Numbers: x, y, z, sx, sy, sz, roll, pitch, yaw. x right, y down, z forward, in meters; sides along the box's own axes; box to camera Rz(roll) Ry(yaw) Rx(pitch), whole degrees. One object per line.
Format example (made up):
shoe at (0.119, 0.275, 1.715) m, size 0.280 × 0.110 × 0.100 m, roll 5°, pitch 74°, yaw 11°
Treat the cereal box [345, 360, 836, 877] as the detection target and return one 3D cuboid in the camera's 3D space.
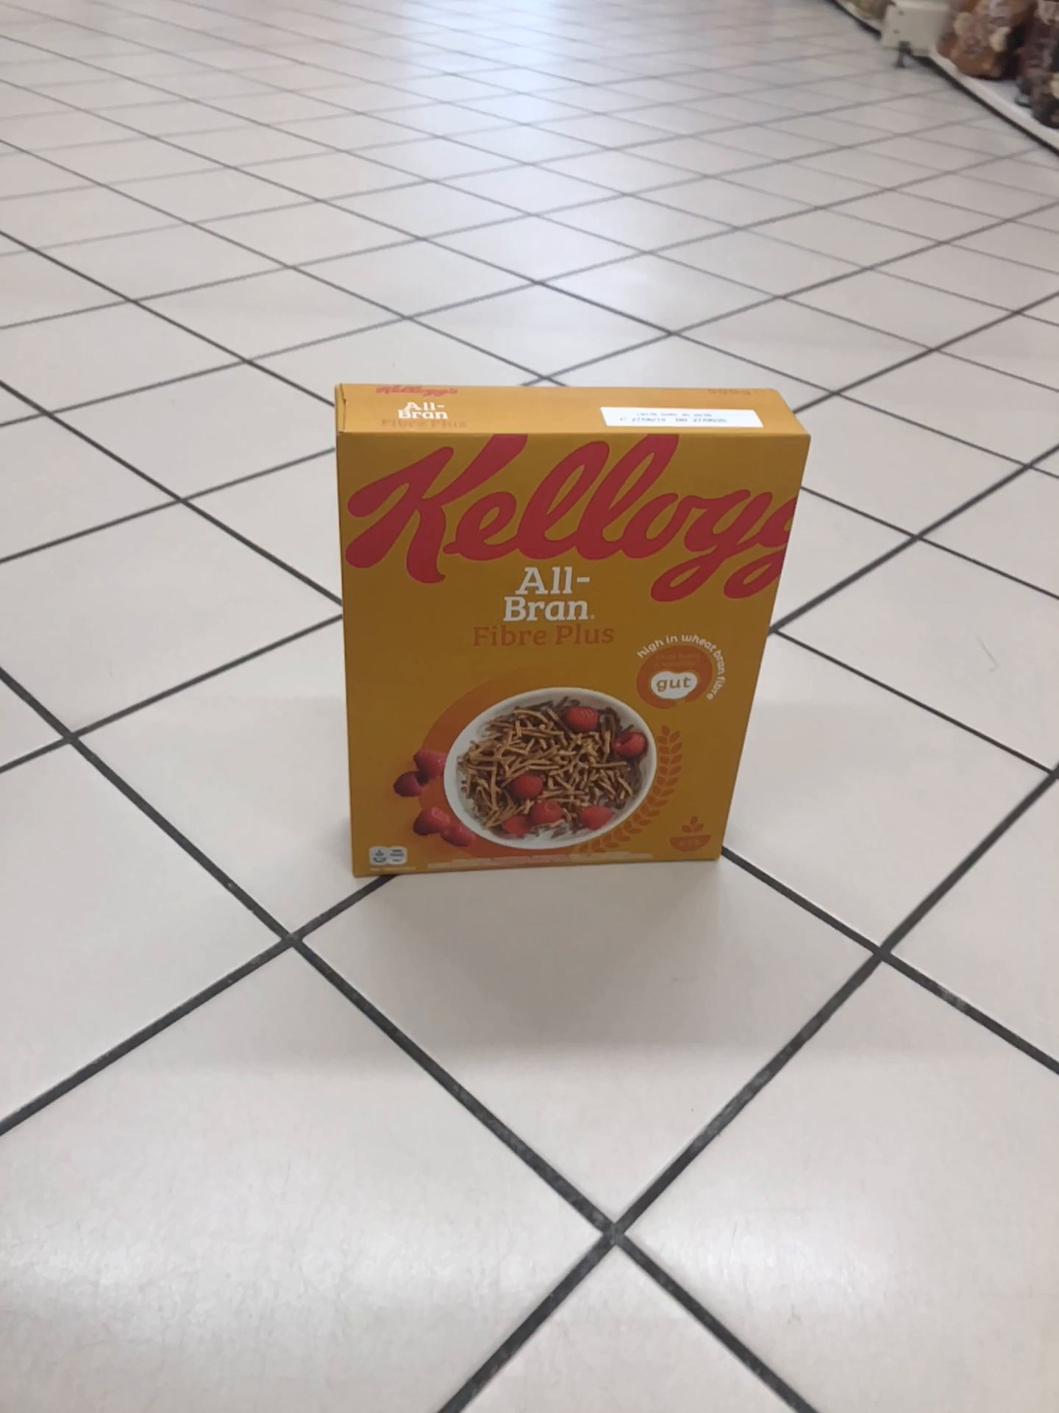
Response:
cereal box at (0.017, -0.032, 0.540) m, size 0.190 × 0.238 × 0.060 m, roll -2°, pitch 37°, yaw -7°
